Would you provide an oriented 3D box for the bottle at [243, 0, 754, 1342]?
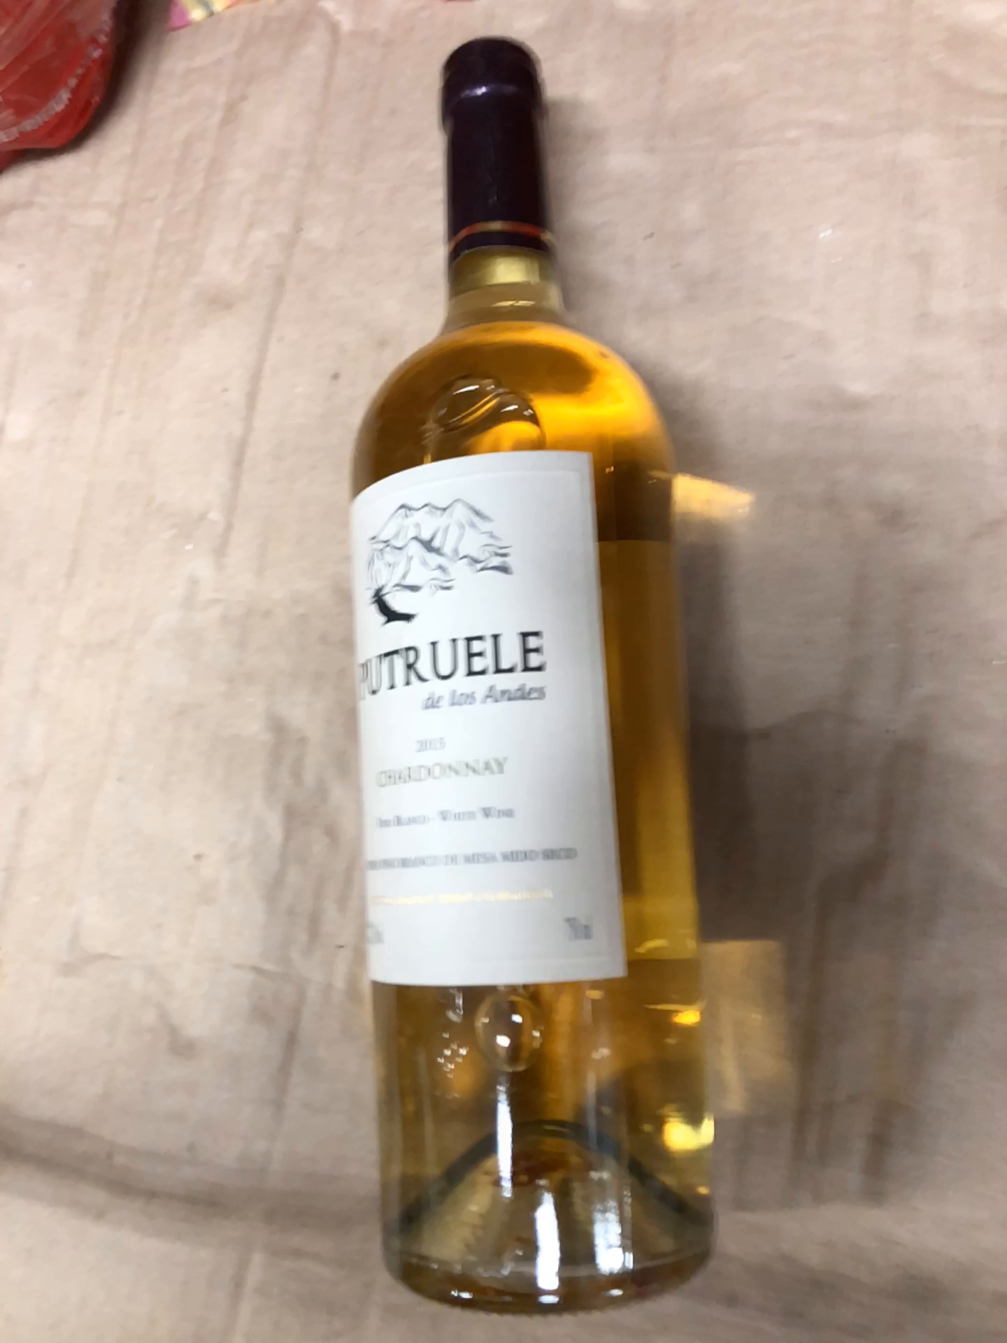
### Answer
[{"bbox_3d":[-0.006,-0.022,0.261,0.080,0.070,0.300,-10,76,31],"label":"bottle"}]
